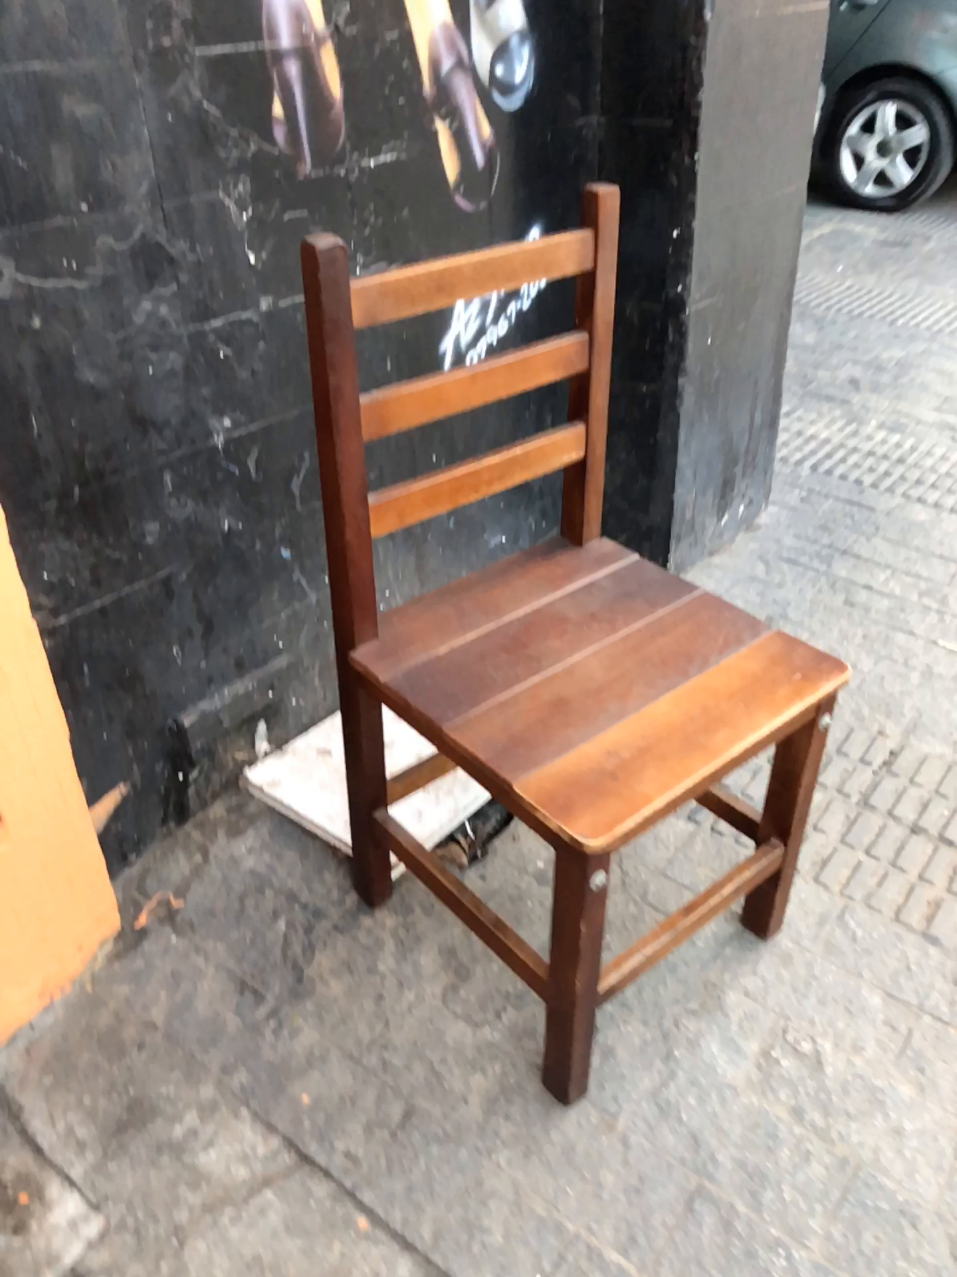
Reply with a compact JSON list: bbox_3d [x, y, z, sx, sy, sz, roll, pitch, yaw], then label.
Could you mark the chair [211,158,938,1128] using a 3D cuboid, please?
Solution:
[{"bbox_3d":[0.091,-0.020,1.217,0.462,0.893,0.502,-26,39,-33],"label":"chair"}]
